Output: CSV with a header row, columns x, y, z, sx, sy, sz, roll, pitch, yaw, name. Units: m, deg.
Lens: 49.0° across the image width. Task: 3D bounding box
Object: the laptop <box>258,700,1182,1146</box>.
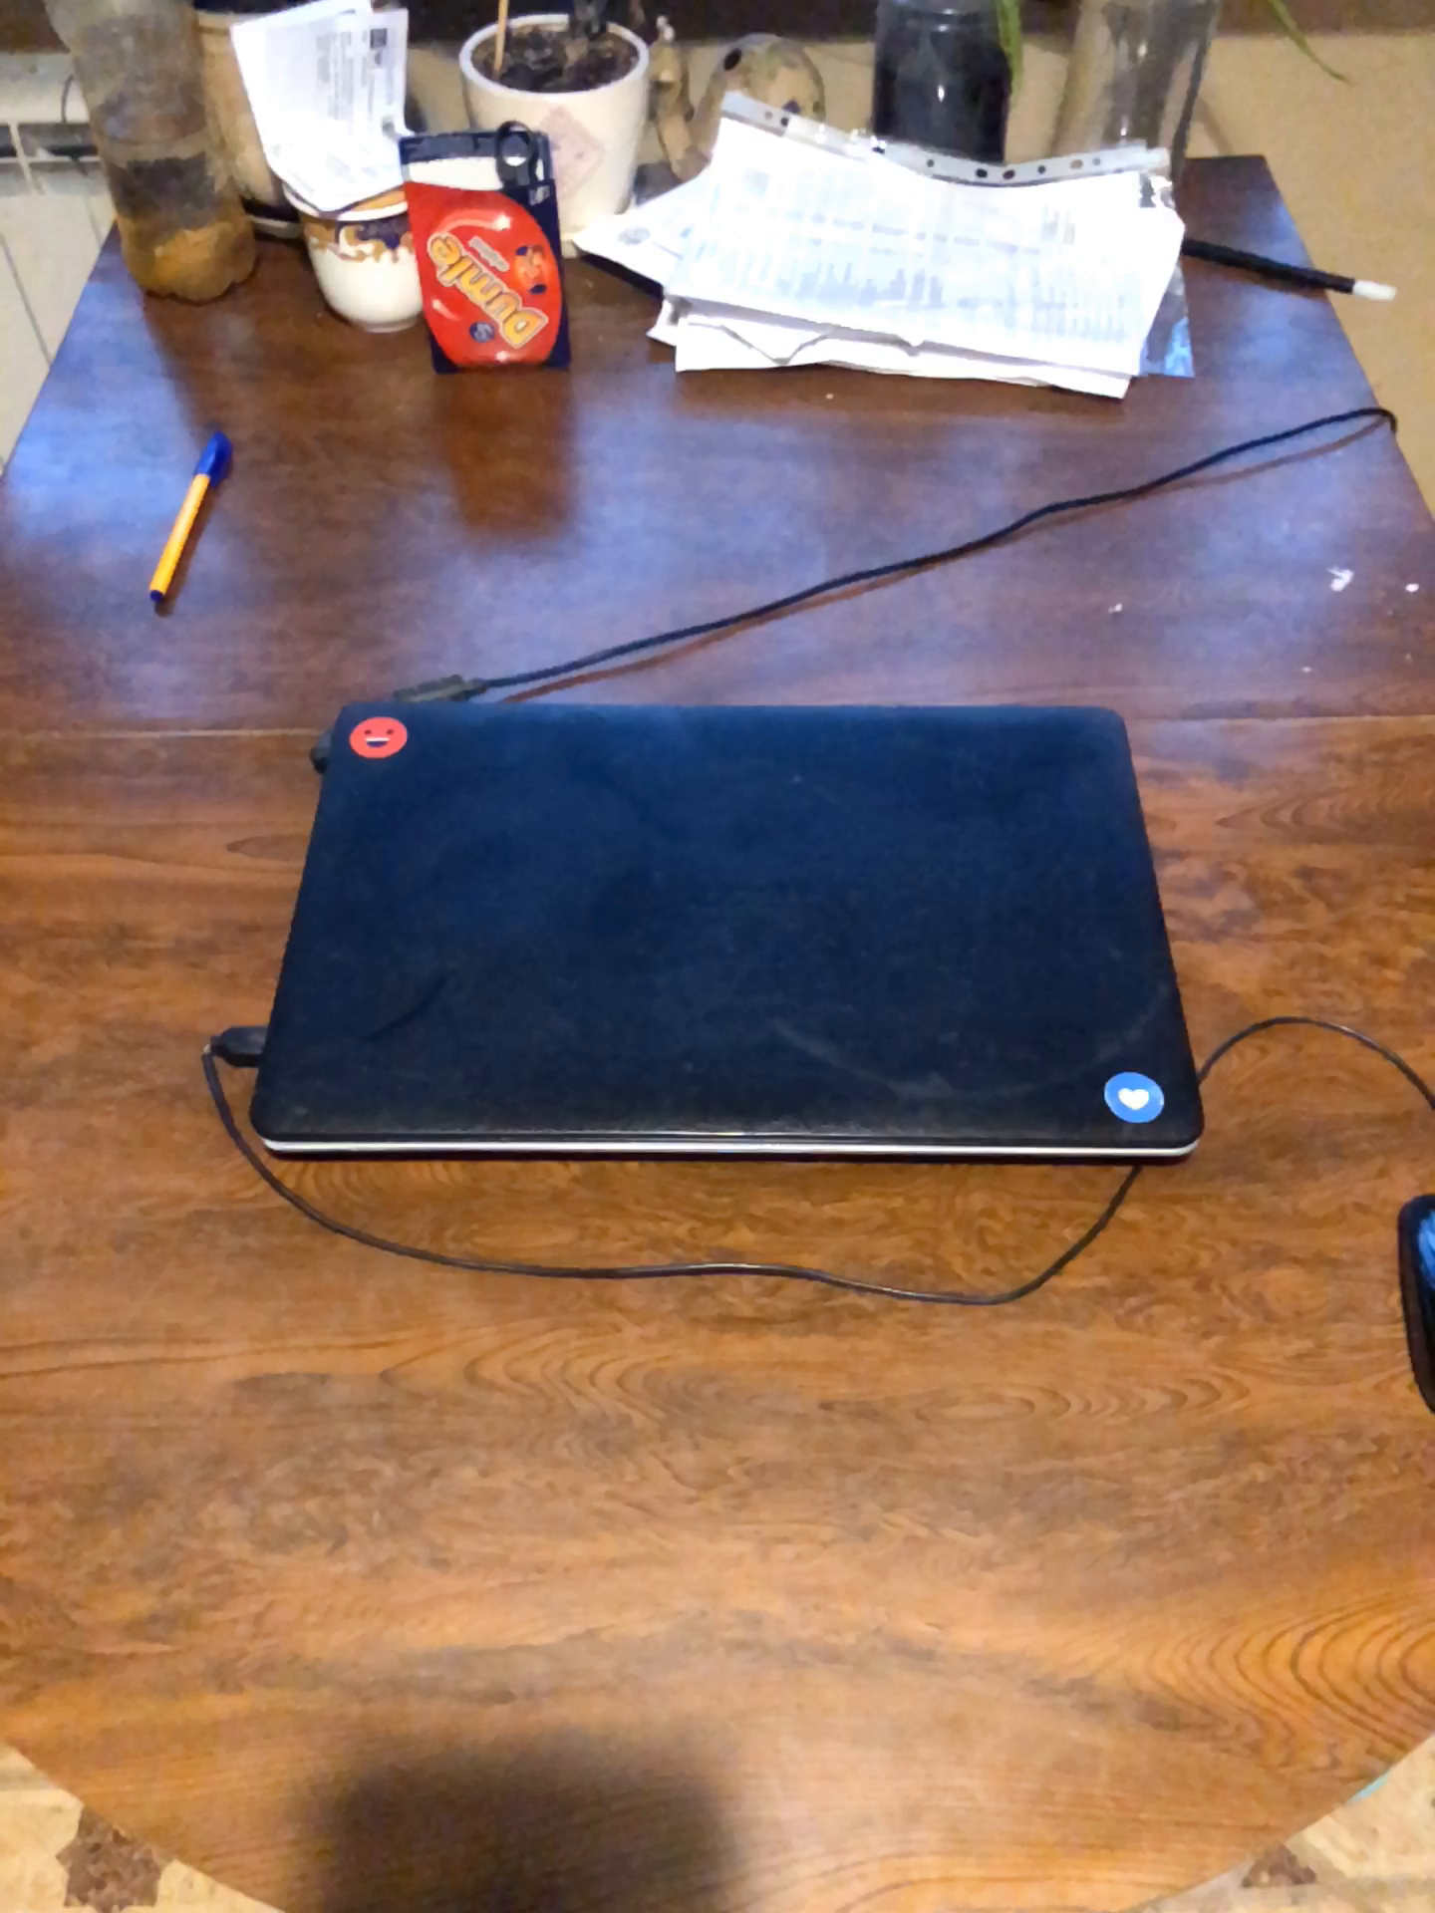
x,y,z,sx,sy,sz,roll,pitch,yaw,name
0.004,-0.024,0.696,0.366,0.007,0.239,1,53,-1,laptop
